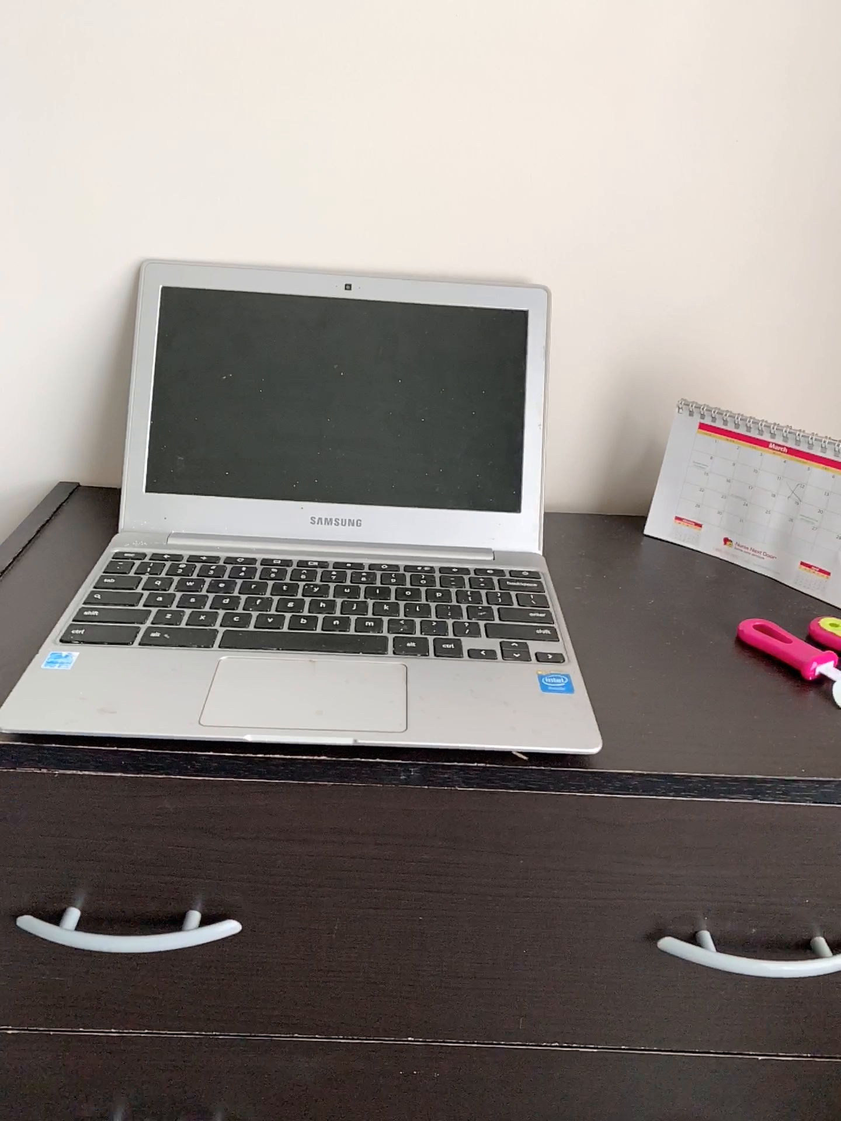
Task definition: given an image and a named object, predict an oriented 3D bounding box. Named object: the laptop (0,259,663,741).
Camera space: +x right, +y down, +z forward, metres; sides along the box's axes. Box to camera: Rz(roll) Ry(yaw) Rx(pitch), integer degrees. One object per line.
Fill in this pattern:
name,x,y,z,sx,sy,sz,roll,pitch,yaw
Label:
laptop,-0.055,-0.063,0.512,0.291,0.153,0.319,3,28,-3
